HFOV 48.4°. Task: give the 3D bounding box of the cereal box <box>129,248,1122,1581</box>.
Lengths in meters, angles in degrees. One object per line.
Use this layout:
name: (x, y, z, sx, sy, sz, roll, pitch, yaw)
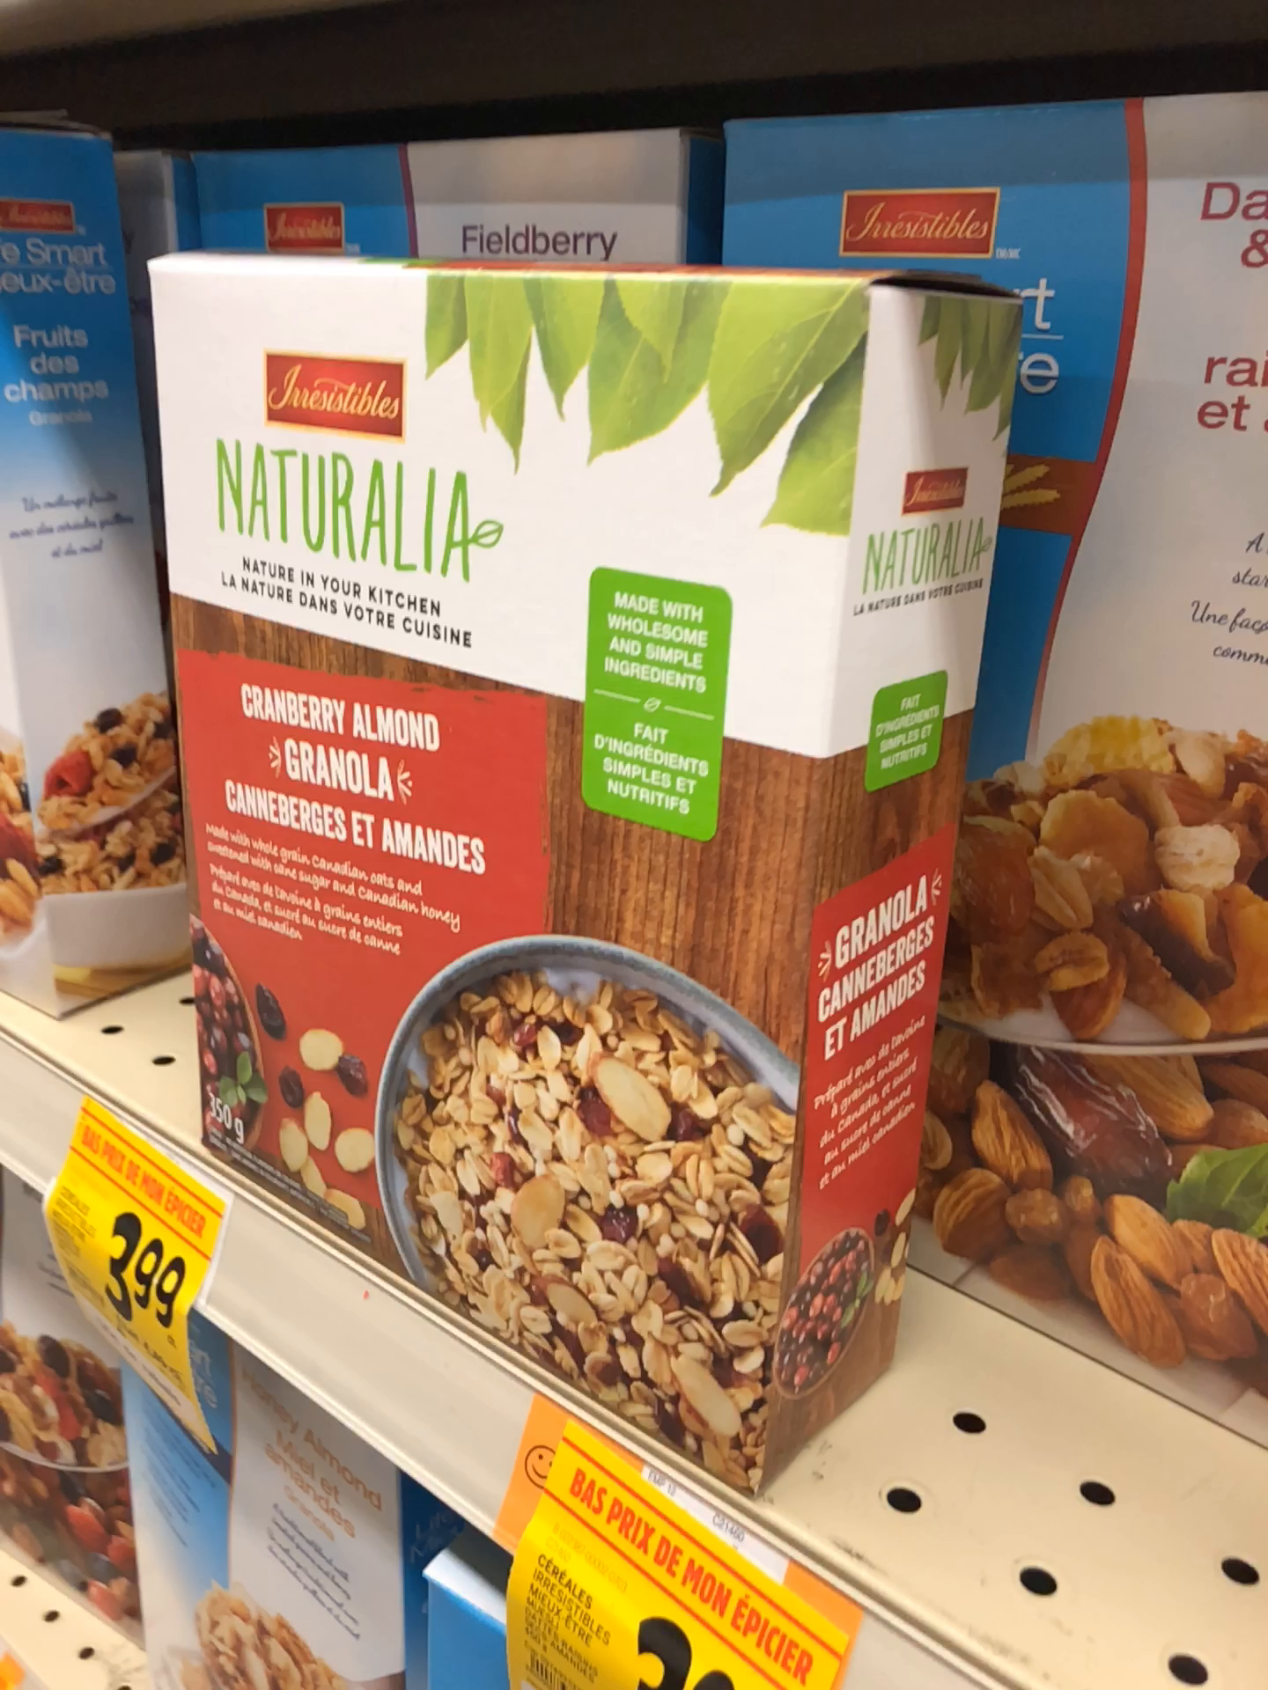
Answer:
cereal box: (-0.014, -0.002, 0.276, 0.171, 0.209, 0.060, 18, 26, 37)
